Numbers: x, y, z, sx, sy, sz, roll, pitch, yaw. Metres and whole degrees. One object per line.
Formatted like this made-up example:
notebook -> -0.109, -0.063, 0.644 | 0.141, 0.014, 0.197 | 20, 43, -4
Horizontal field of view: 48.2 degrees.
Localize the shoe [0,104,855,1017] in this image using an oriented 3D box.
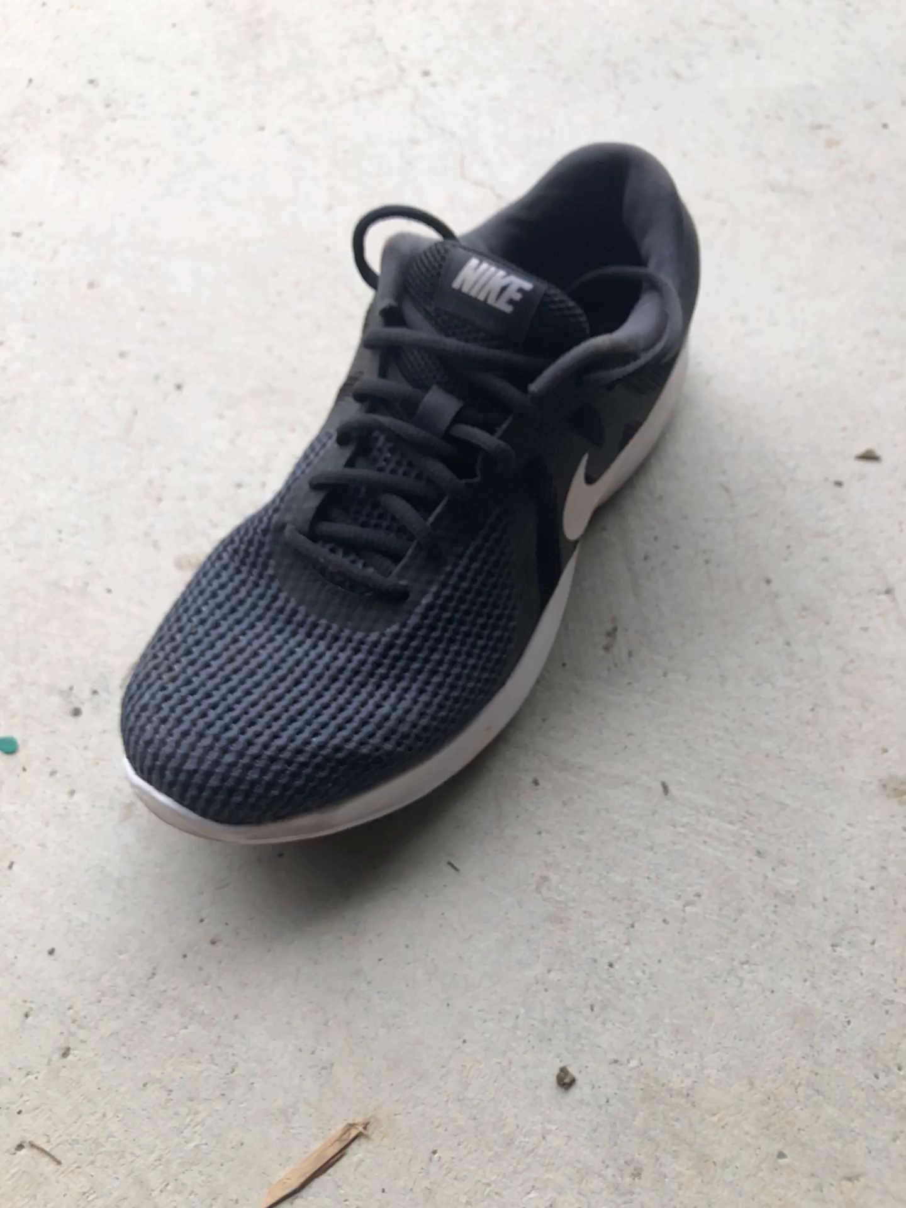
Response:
shoe -> 0.006, -0.029, 0.357 | 0.130, 0.100, 0.291 | 30, 66, 13
